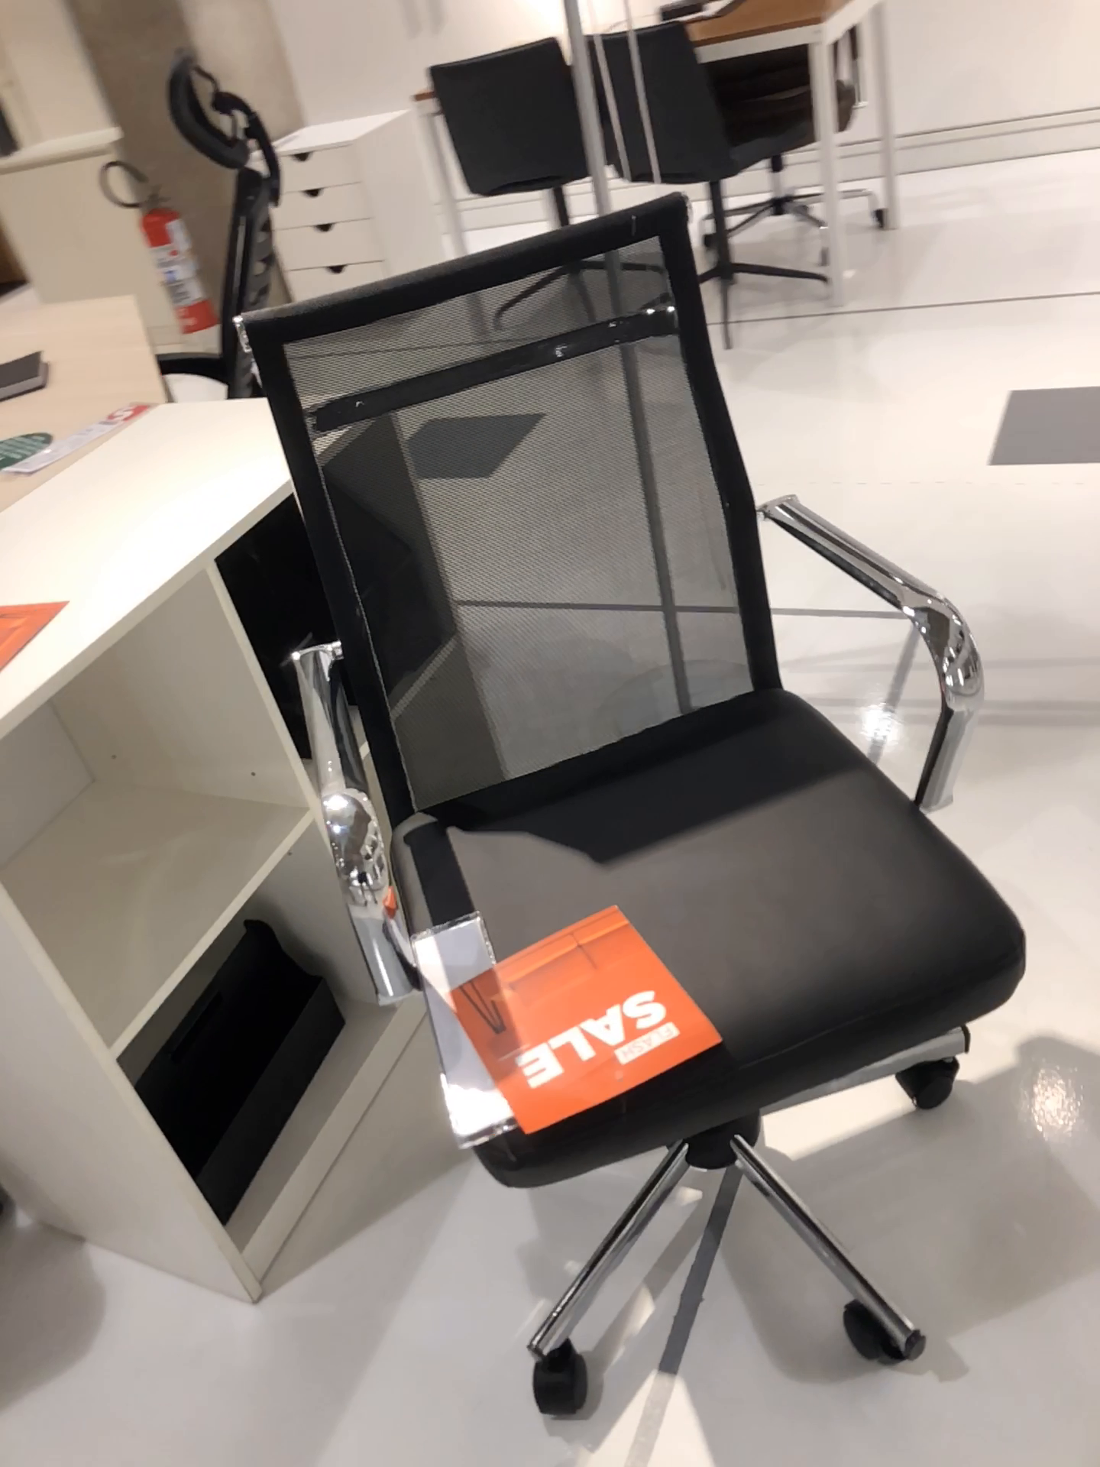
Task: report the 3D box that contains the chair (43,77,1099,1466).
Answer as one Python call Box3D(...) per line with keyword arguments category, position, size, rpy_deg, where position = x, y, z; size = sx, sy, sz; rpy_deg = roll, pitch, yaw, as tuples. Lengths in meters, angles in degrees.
Box3D(category="chair", position=(0.087, 0.060, 1.080), size=(0.610, 0.992, 0.625), rpy_deg=(-20, 34, -7))
